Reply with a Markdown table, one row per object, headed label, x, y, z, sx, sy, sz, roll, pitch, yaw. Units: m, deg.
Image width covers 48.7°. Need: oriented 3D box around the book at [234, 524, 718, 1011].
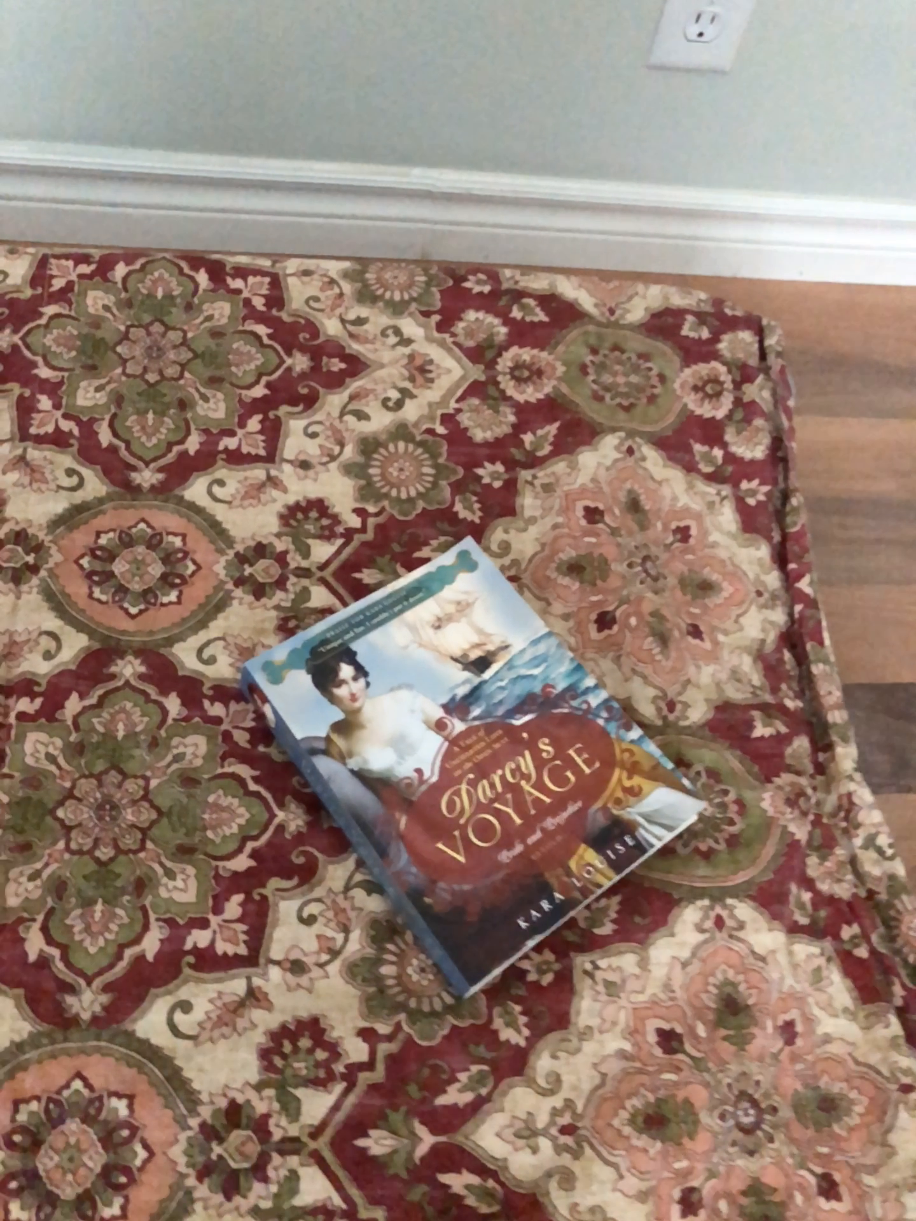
| label | x | y | z | sx | sy | sz | roll | pitch | yaw |
| --- | --- | --- | --- | --- | --- | --- | --- | --- | --- |
| book | 0.006 | 0.068 | 0.519 | 0.155 | 0.034 | 0.200 | -30 | 69 | -24 |
